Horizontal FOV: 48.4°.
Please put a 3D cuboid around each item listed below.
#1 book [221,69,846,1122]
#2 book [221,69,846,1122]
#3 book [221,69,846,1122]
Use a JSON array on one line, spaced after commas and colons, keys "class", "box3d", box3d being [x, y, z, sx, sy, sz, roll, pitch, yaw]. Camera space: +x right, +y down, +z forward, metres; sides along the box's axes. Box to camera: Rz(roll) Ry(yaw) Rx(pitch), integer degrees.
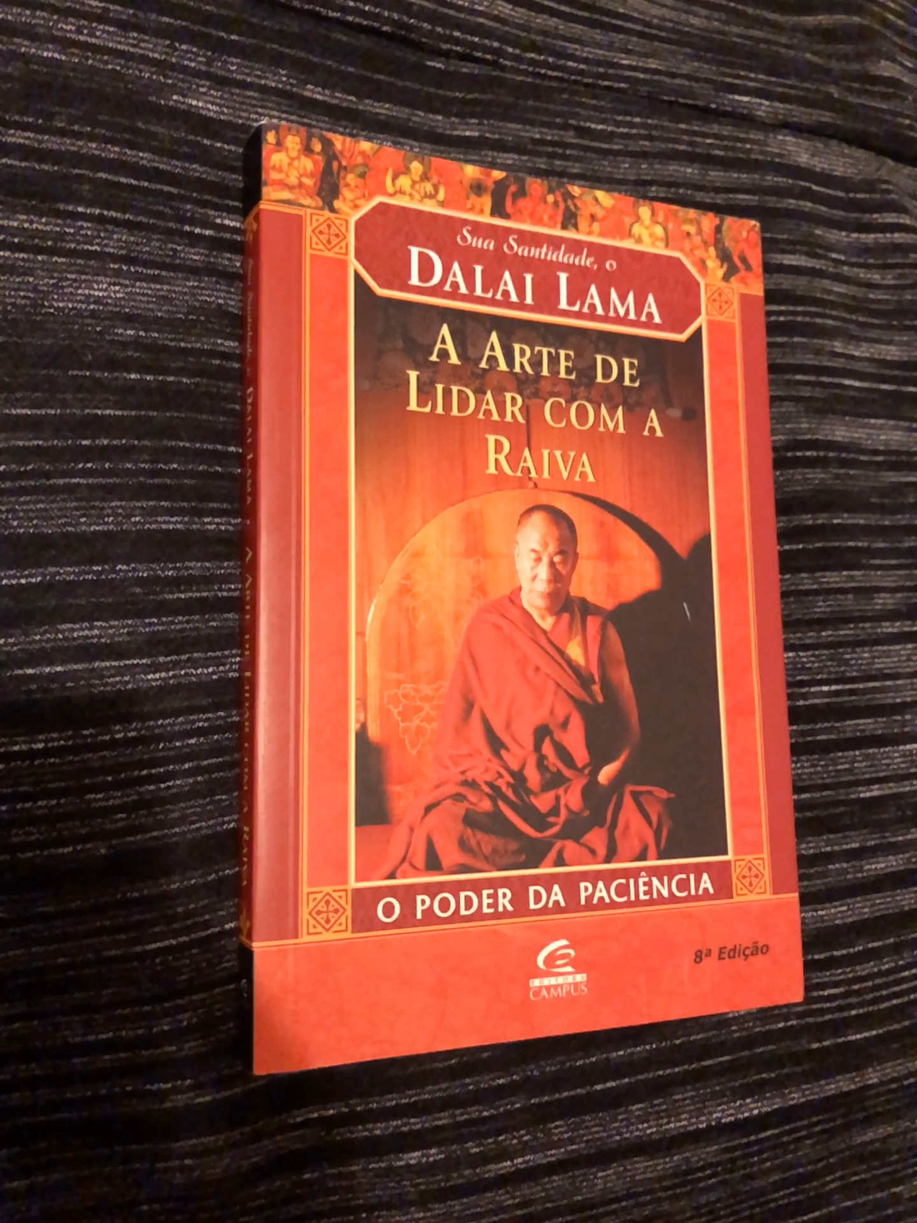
[{"class": "book", "box3d": [0.020, -0.007, 0.254, 0.150, 0.030, 0.220, 1, 83, -23]}, {"class": "book", "box3d": [0.020, -0.007, 0.254, 0.150, 0.030, 0.220, 1, 83, -23]}, {"class": "book", "box3d": [0.020, -0.007, 0.254, 0.150, 0.030, 0.220, 1, 83, -23]}]
